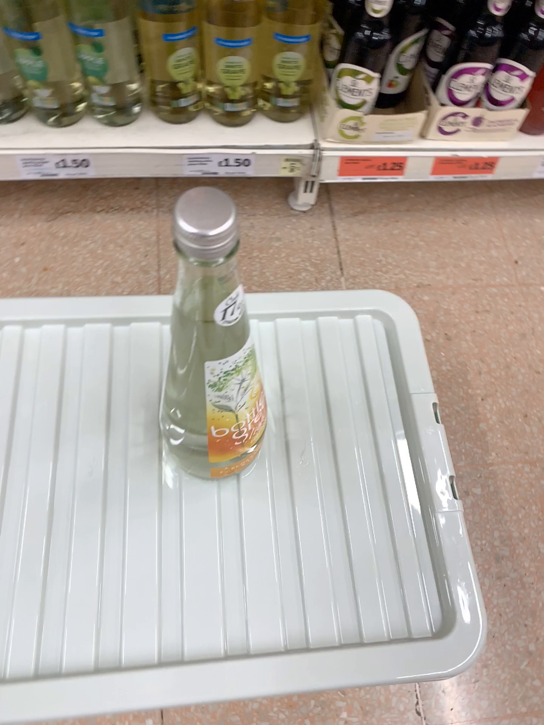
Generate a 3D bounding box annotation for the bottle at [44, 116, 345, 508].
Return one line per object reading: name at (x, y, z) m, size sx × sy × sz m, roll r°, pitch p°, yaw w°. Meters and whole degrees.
bottle at (-0.042, 0.003, 0.367) m, size 0.090 × 0.288 × 0.090 m, roll 2°, pitch 64°, yaw -4°
